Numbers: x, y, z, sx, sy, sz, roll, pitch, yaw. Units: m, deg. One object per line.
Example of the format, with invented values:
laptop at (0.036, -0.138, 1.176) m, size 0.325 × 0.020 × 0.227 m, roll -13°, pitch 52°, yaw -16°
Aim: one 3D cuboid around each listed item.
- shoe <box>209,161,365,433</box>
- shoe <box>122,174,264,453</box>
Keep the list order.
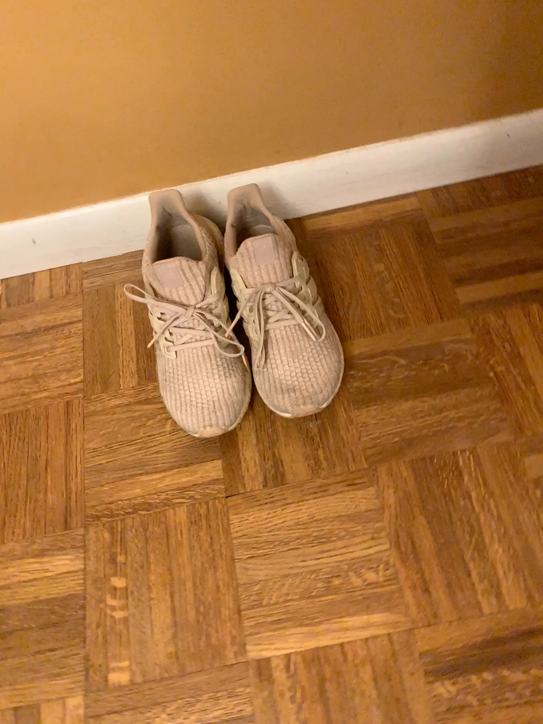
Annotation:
shoe at (0.015, -0.067, 0.620) m, size 0.110 × 0.120 × 0.260 m, roll -11°, pitch 75°, yaw 2°
shoe at (-0.089, -0.051, 0.643) m, size 0.100 × 0.130 × 0.281 m, roll -11°, pitch 72°, yaw 2°
